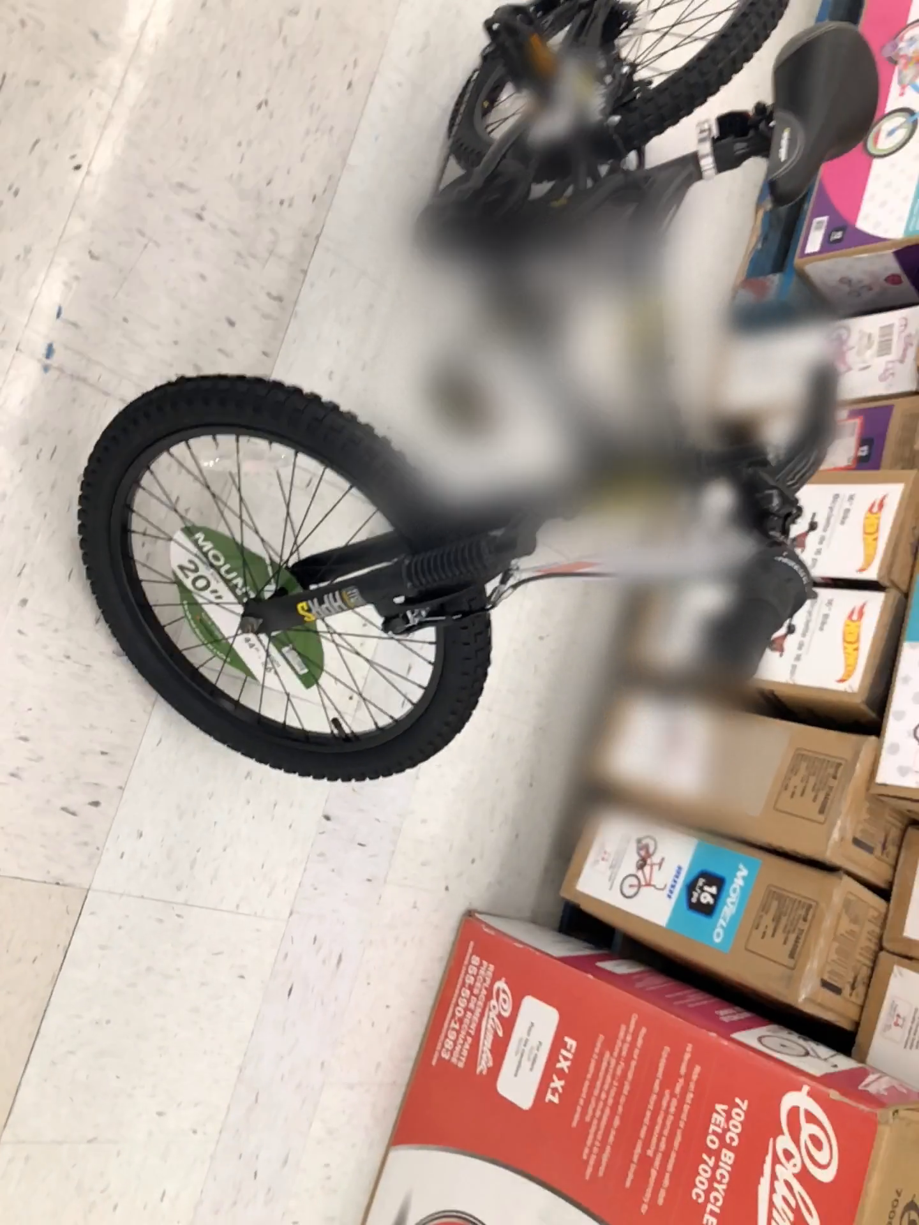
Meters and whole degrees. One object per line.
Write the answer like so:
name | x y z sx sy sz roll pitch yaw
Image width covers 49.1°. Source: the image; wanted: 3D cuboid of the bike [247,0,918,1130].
bike | 0.342 -0.308 1.241 0.524 0.850 1.259 32 70 -38
